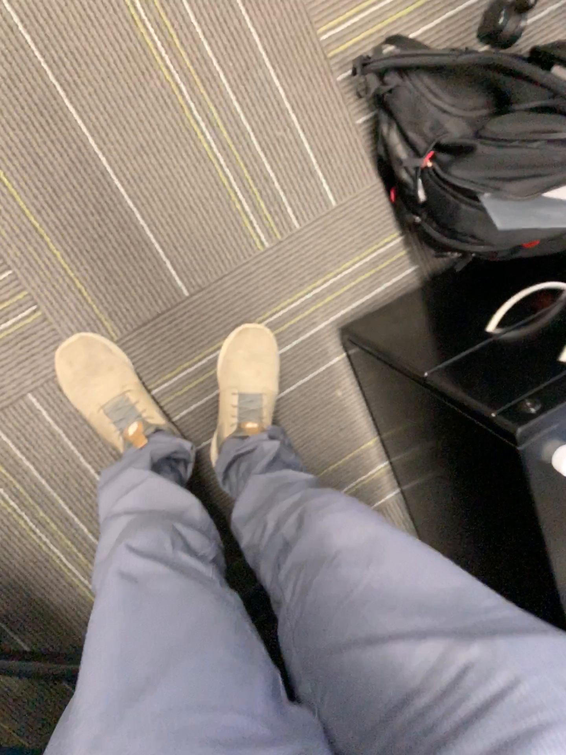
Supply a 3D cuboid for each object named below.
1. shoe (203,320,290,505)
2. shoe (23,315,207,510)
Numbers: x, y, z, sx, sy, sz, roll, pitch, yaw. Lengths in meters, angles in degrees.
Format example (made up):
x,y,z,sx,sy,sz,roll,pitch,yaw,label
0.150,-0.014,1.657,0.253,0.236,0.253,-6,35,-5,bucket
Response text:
x,y,z,sx,sy,sz,roll,pitch,yaw,label
-0.068,0.060,1.019,0.107,0.098,0.302,1,107,-18,shoe
-0.274,0.061,0.985,0.126,0.098,0.302,-36,114,-4,shoe
